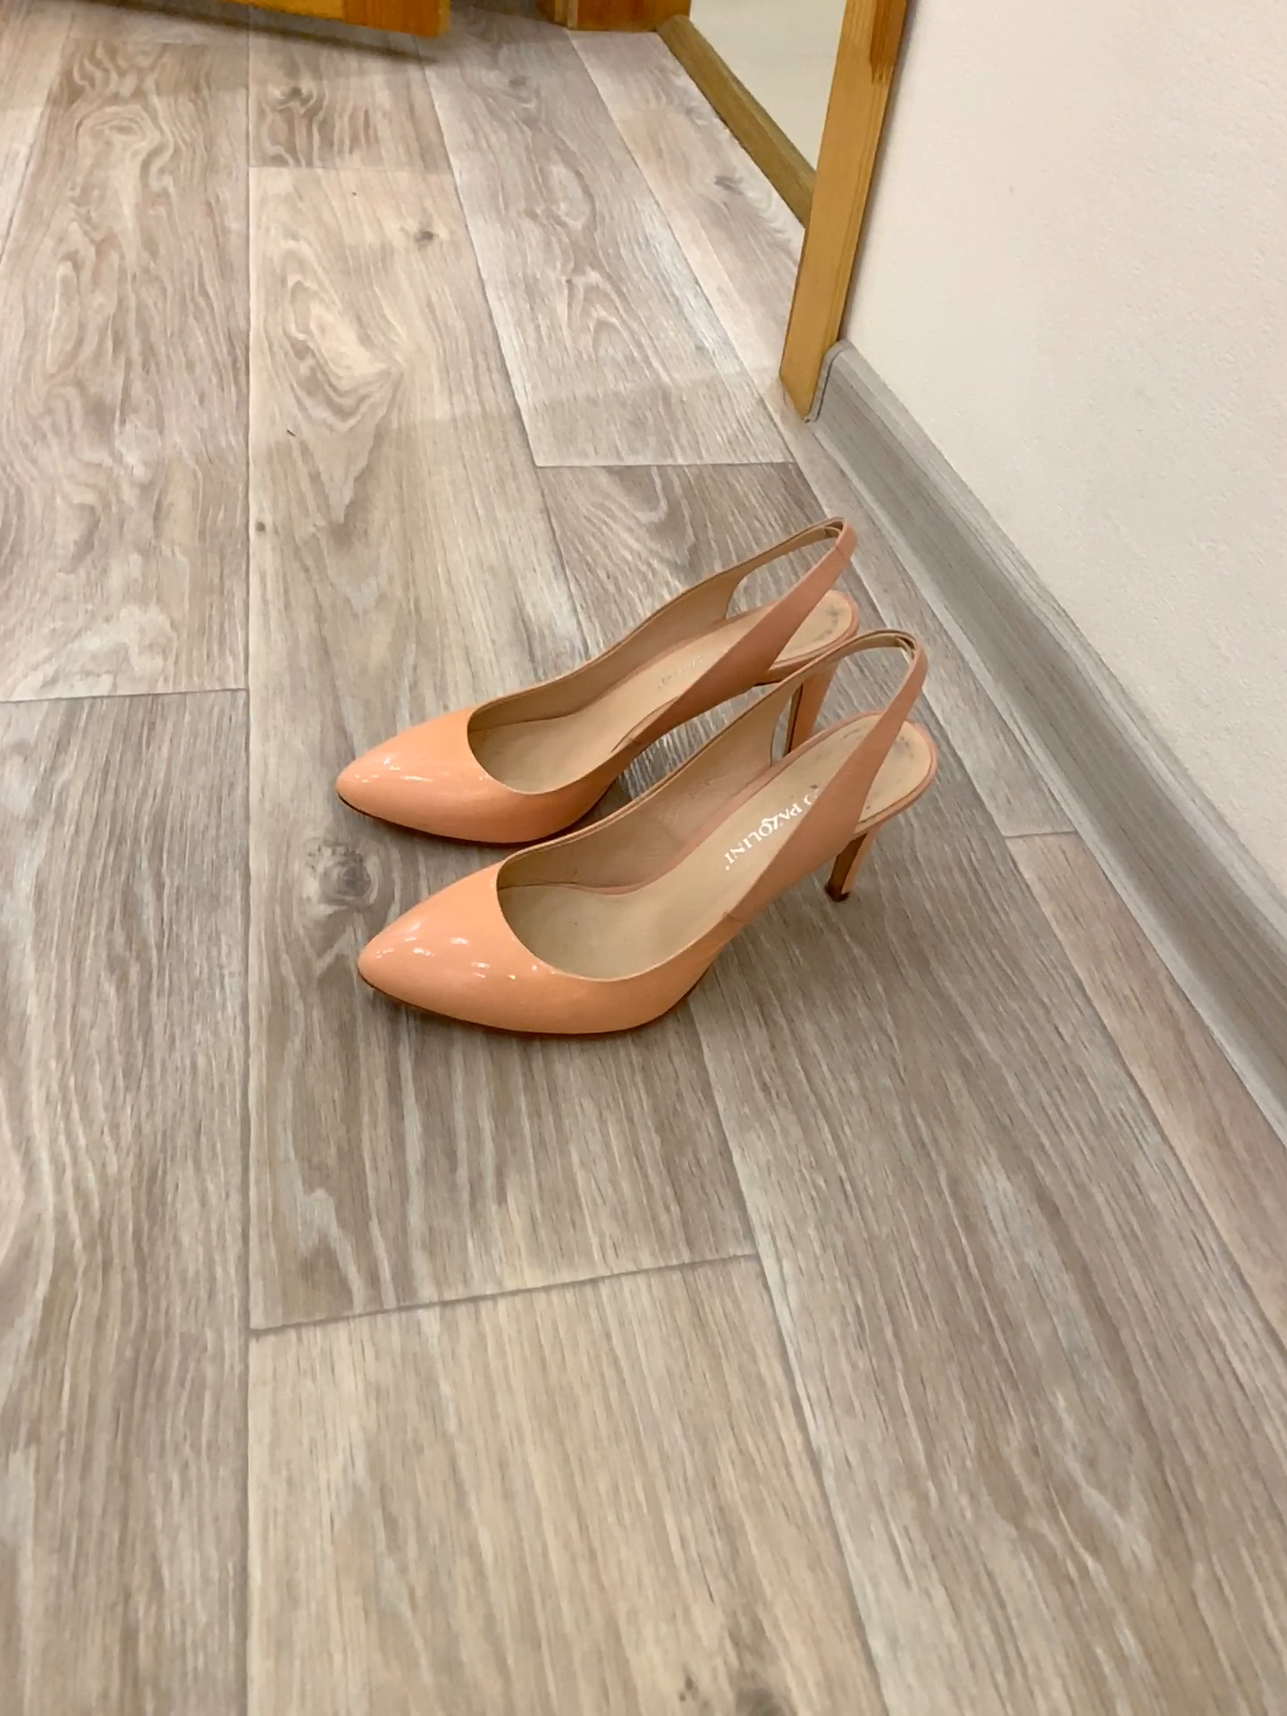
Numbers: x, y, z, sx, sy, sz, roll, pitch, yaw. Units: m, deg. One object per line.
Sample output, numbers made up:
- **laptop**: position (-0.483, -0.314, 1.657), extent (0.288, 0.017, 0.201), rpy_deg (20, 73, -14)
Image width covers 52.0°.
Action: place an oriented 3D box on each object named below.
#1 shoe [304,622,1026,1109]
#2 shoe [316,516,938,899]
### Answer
- **shoe**: position (0.004, -0.001, 0.507), extent (0.240, 0.119, 0.090), rpy_deg (-10, 48, -18)
- **shoe**: position (-0.013, -0.068, 0.579), extent (0.240, 0.119, 0.090), rpy_deg (-6, 46, -14)
